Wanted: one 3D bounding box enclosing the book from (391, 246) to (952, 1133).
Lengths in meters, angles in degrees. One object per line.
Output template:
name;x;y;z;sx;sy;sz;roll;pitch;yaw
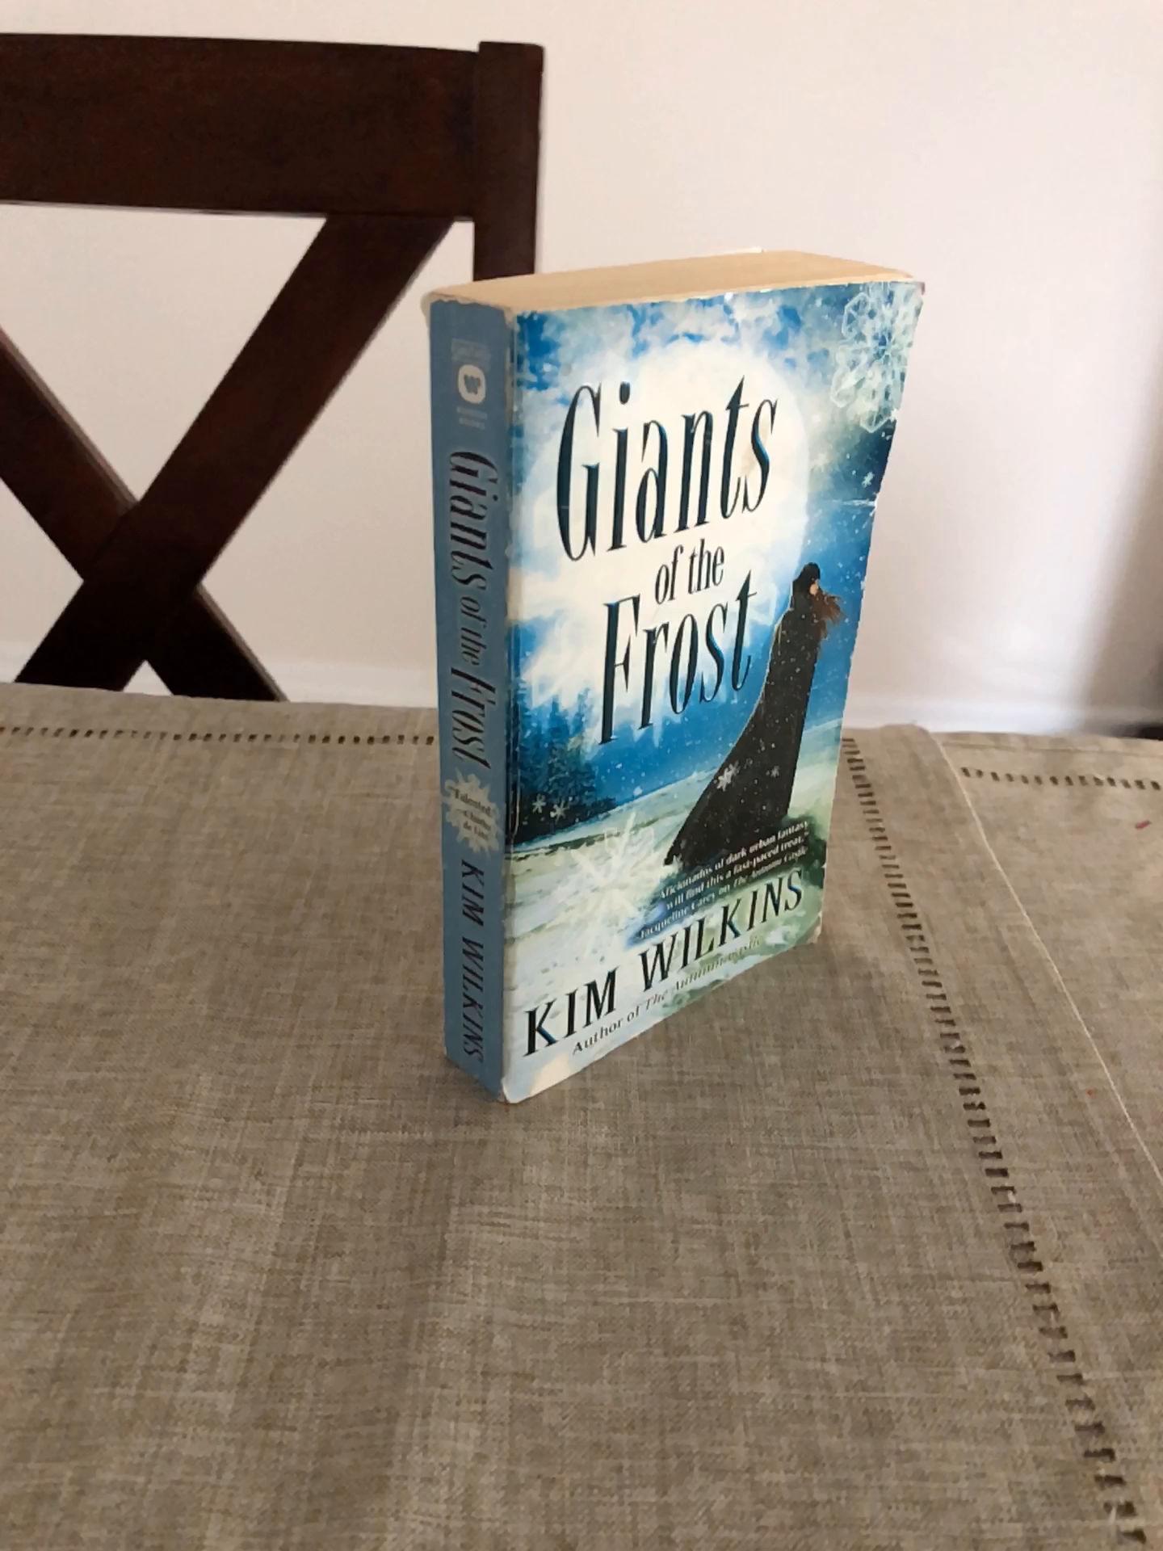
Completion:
book;0.019;-0.022;0.288;0.111;0.168;0.043;-23;37;-38
